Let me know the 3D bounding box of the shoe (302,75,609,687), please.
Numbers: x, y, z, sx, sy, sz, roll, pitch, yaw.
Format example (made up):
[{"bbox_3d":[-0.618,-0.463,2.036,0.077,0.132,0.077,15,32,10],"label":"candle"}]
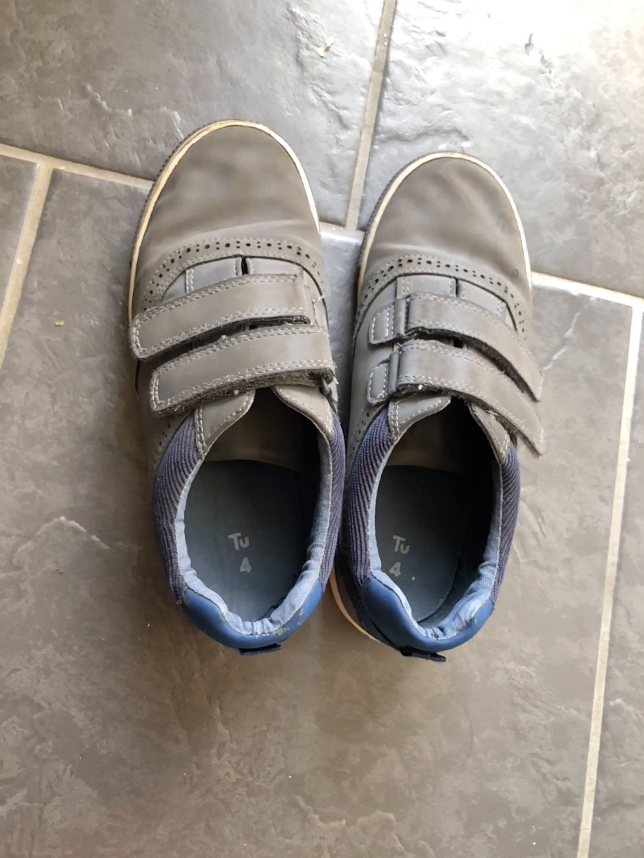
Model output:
[{"bbox_3d":[0.061,-0.021,0.337,0.100,0.070,0.250,9,81,-8],"label":"shoe"}]

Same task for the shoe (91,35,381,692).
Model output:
[{"bbox_3d":[-0.040,-0.029,0.310,0.100,0.070,0.250,-2,83,-9],"label":"shoe"}]
